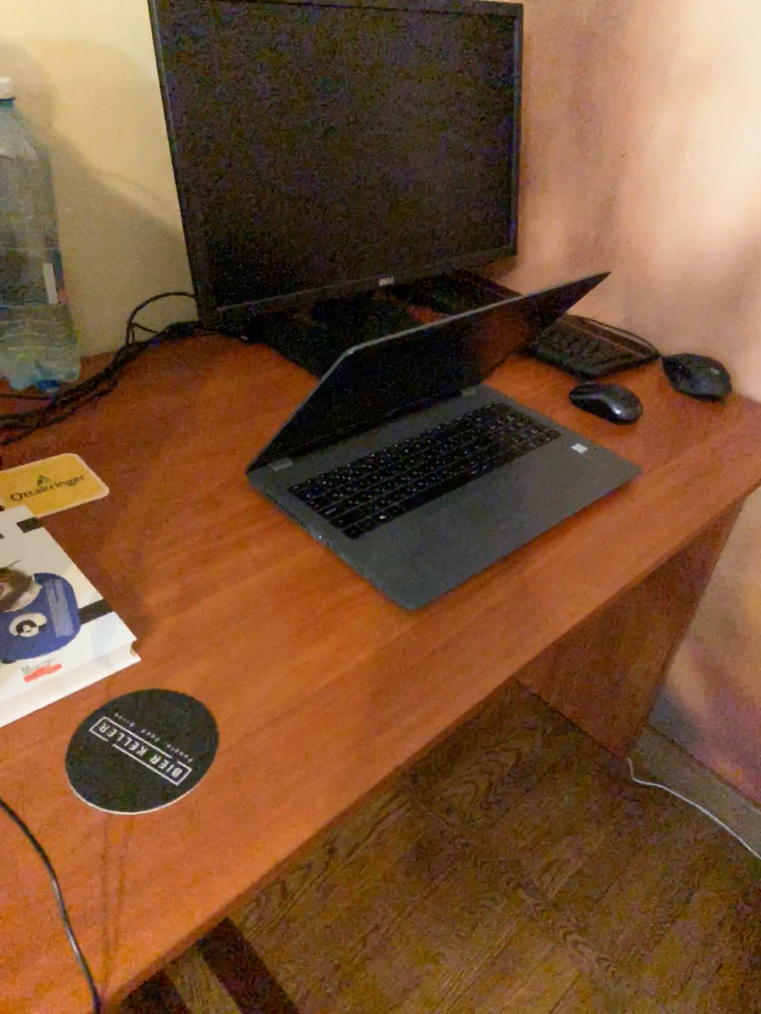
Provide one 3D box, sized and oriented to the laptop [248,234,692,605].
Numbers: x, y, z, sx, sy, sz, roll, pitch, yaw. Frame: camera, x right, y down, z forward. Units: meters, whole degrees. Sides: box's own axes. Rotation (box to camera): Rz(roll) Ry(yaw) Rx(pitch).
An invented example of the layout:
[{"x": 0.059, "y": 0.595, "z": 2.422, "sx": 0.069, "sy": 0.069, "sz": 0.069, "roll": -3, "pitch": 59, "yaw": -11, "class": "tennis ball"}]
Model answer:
[{"x": 0.087, "y": -0.115, "z": 0.767, "sx": 0.361, "sy": 0.191, "sz": 0.232, "roll": -26, "pitch": 48, "yaw": -37, "class": "laptop"}]
